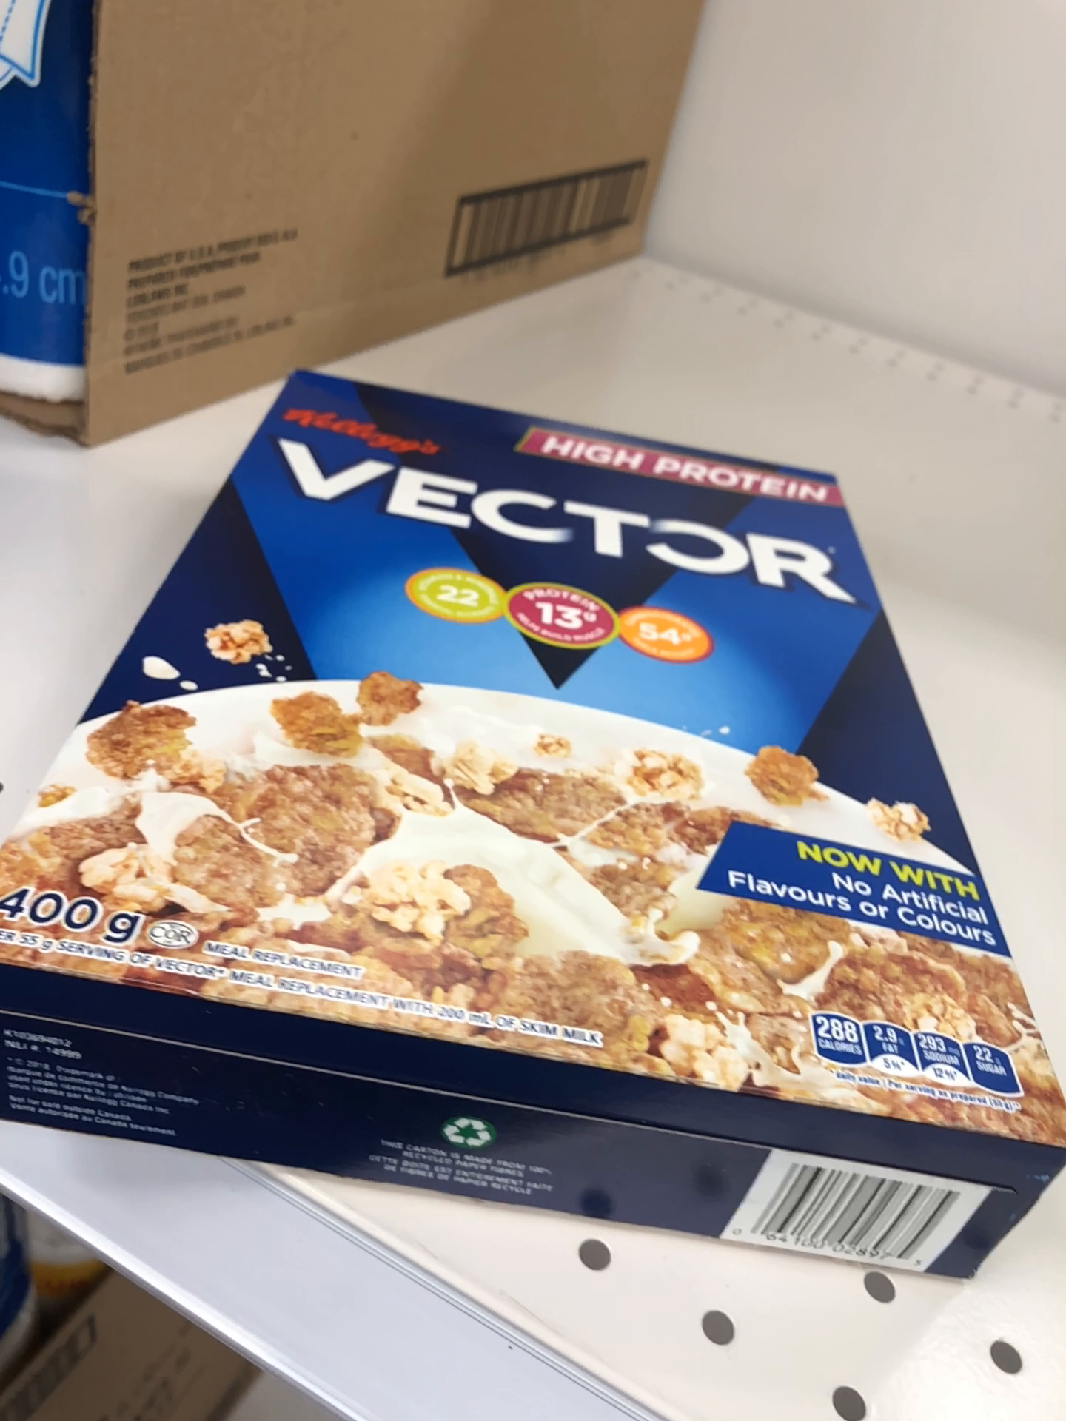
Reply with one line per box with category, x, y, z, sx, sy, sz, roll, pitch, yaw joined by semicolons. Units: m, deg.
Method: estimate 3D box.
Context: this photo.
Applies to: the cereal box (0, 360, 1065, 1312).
cereal box;-0.001;-0.005;0.329;0.210;0.050;0.291;11;33;-5
